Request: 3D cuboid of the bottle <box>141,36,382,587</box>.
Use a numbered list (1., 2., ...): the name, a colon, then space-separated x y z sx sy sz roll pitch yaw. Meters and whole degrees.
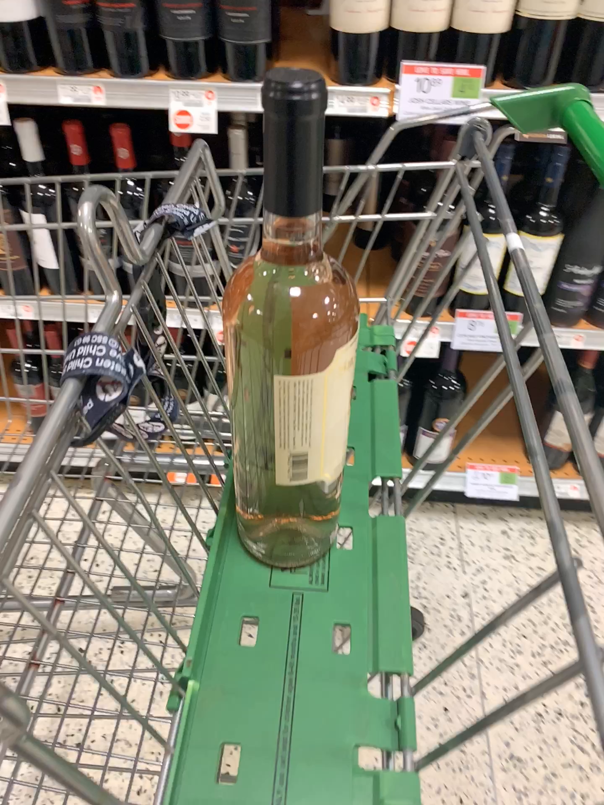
1. bottle: -0.013 -0.020 0.357 0.086 0.315 0.084 1 42 0
